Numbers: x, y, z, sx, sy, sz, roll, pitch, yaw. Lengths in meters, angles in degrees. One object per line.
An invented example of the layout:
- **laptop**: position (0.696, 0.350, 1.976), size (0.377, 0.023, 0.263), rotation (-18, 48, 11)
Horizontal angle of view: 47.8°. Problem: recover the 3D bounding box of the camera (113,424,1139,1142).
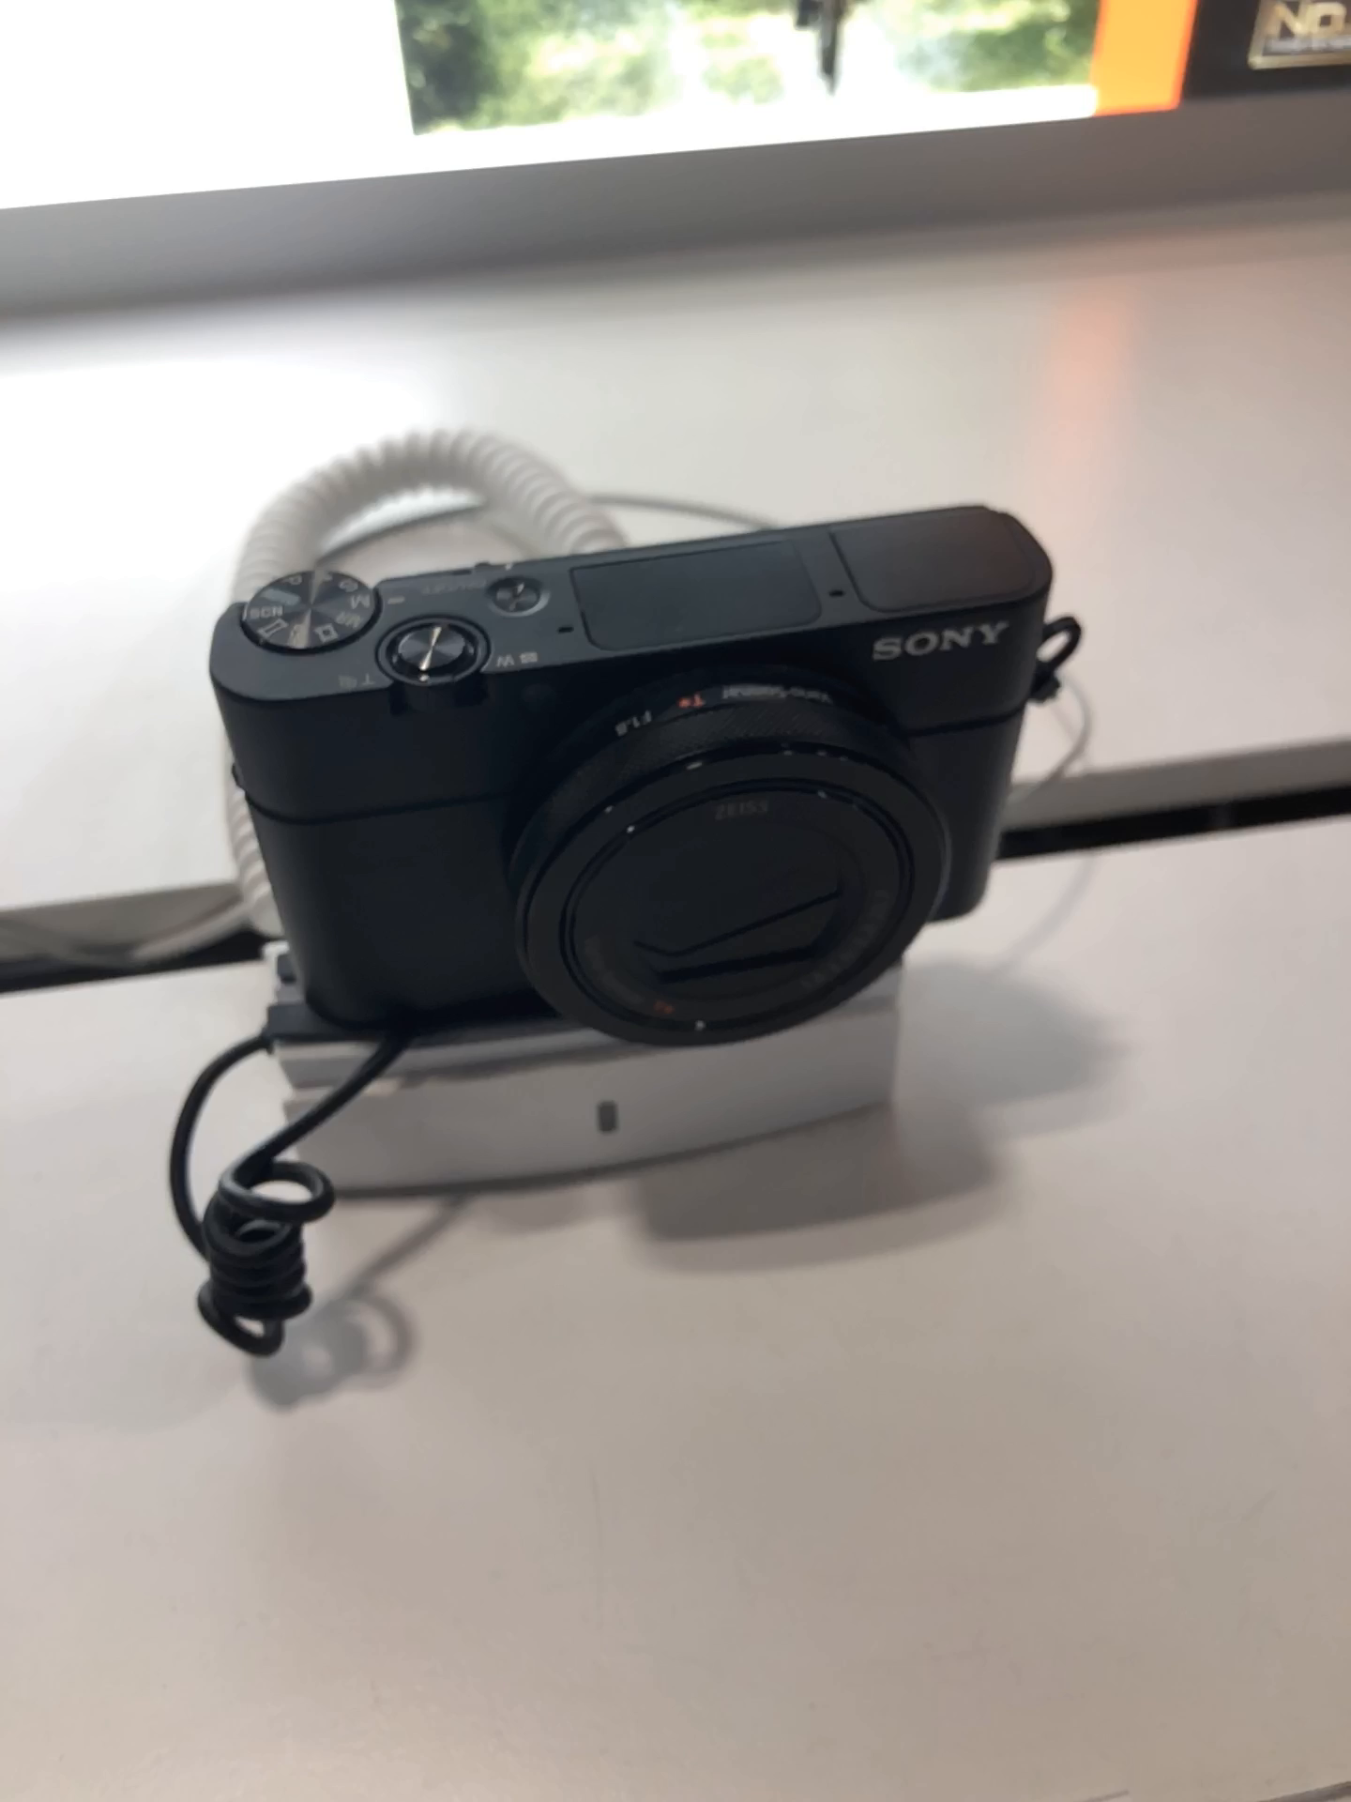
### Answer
- **camera**: position (-0.006, -0.015, 0.200), size (0.110, 0.070, 0.040), rotation (-9, 45, -7)
